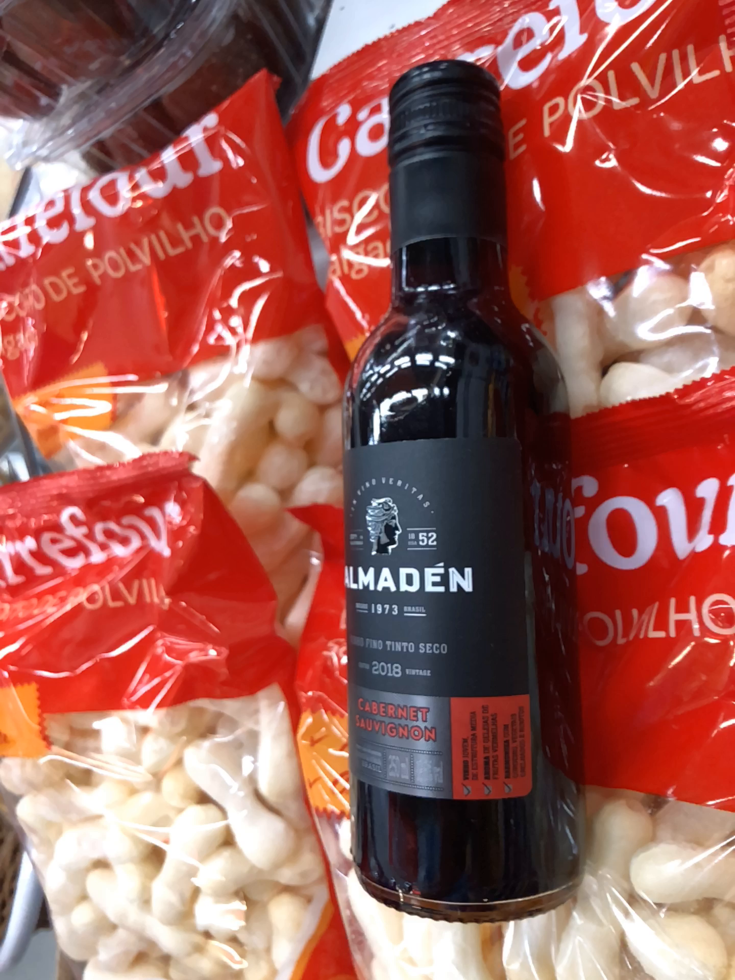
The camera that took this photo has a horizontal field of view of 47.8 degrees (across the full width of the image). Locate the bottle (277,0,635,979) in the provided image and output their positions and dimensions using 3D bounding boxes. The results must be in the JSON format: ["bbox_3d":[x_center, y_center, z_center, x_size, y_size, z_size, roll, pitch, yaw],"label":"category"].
[{"bbox_3d":[0.021,-0.011,0.193,0.060,0.050,0.200,-4,81,39],"label":"bottle"}]
